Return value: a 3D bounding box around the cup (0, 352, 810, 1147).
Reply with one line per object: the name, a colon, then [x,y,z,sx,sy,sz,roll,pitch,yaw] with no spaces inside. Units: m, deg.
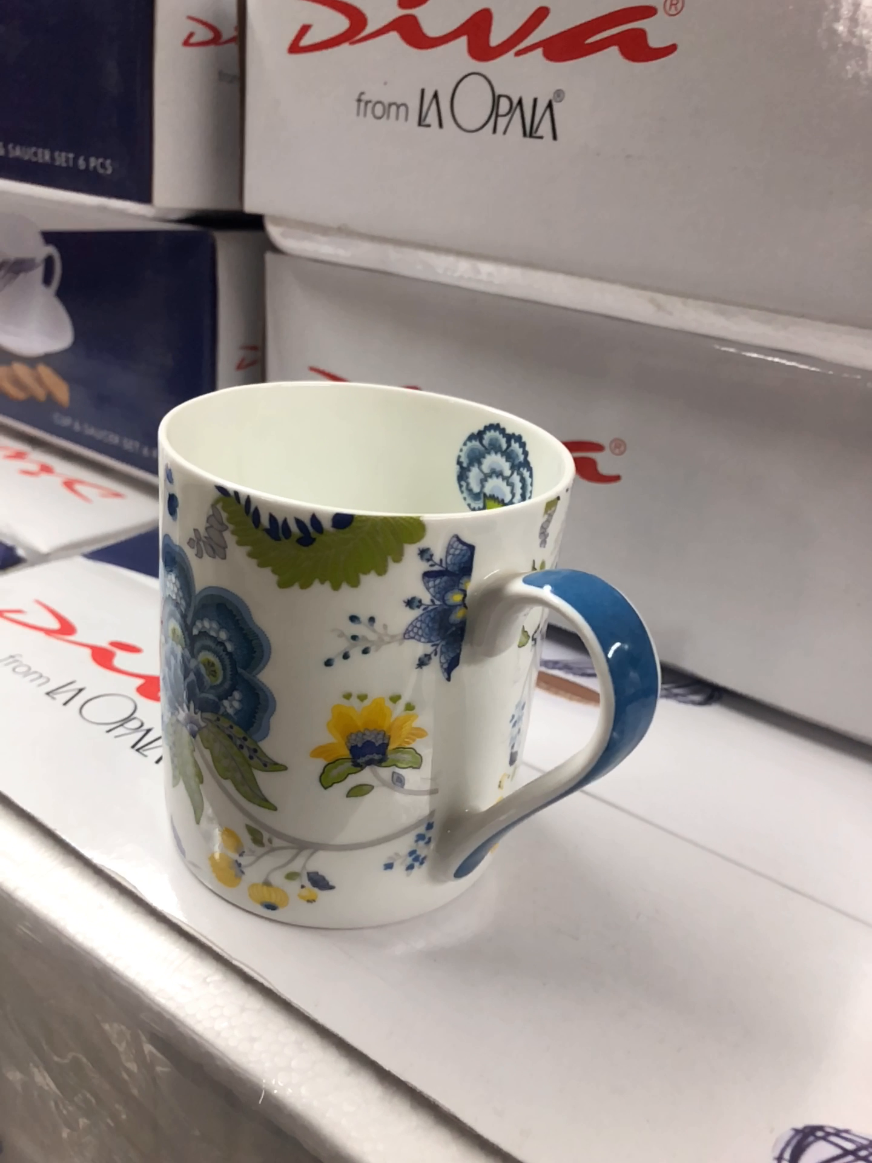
cup: [-0.009,0.014,0.181,0.110,0.080,0.080,23,31,32]
